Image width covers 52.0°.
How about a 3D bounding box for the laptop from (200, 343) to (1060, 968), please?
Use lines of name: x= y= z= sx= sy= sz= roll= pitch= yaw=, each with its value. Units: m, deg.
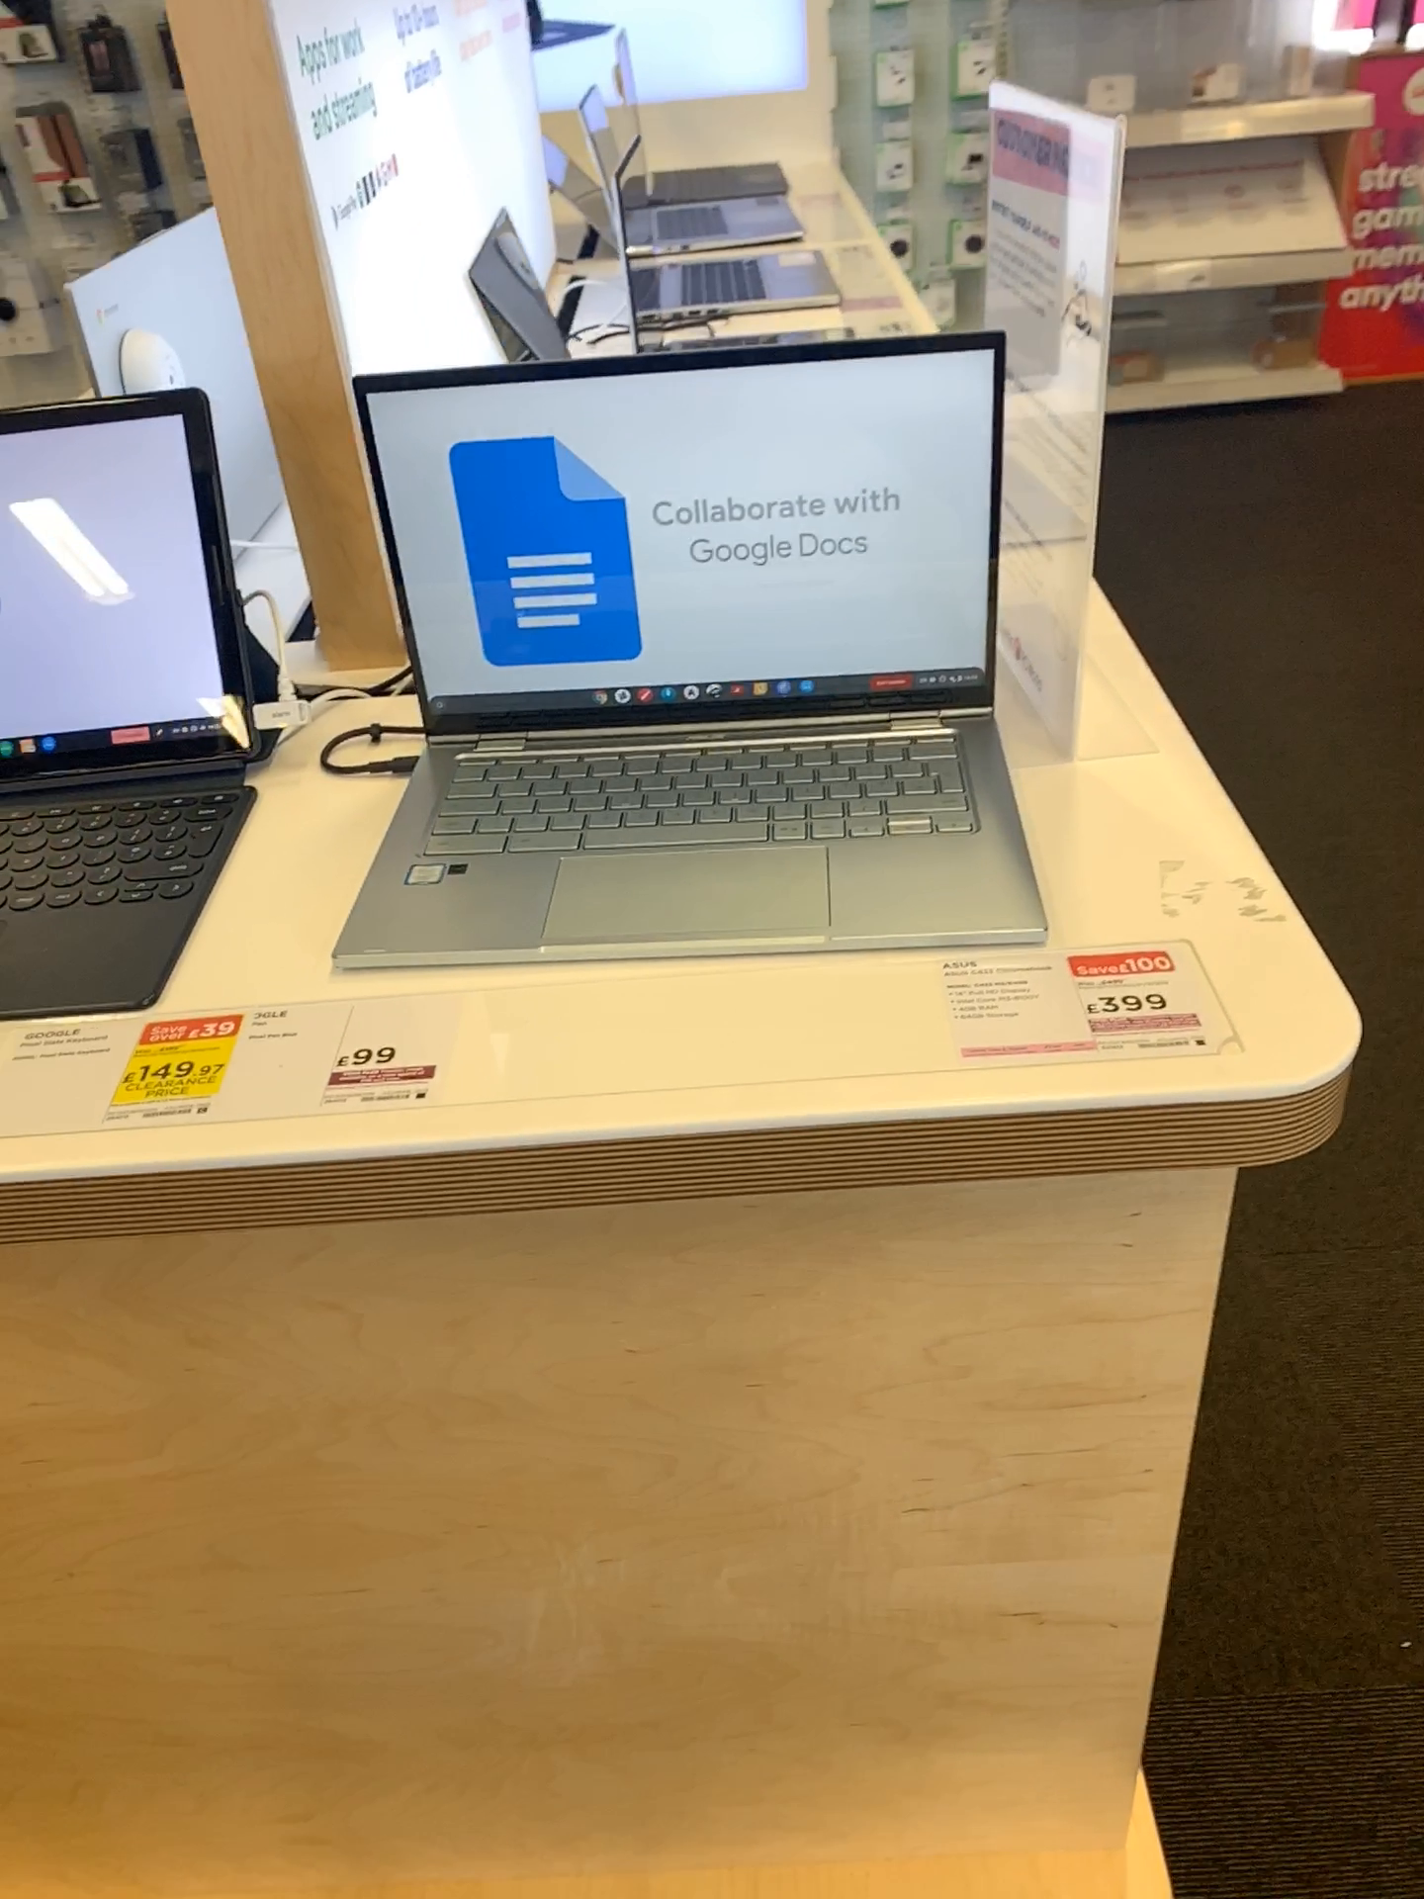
laptop: x=-0.023 y=-0.138 z=0.669 sx=0.317 sy=0.195 sz=0.205 roll=-2 pitch=35 yaw=5
